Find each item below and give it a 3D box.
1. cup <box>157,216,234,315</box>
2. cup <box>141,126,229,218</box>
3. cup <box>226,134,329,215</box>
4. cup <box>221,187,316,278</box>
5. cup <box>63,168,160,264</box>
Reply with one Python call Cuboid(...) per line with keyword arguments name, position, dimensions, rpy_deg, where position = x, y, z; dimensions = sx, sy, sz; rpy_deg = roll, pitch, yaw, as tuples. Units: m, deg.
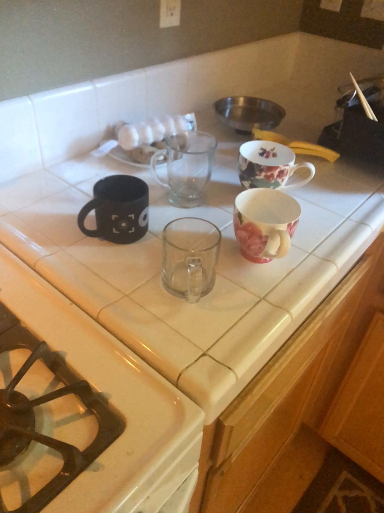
Cuboid(name="cup", position=(-0.001, 0.010, 0.610), dimensions=(0.090, 0.079, 0.121), rpy_deg=(-1, 40, -8))
Cuboid(name="cup", position=(-0.017, -0.153, 0.759), dimensions=(0.120, 0.109, 0.101), rpy_deg=(-14, 43, -22))
Cuboid(name="cup", position=(0.164, -0.162, 0.823), dimensions=(0.160, 0.079, 0.101), rpy_deg=(21, 42, 18))
Cuboid(name="cup", position=(0.107, -0.039, 0.632), dimensions=(0.100, 0.069, 0.131), rpy_deg=(-1, 40, -7))
Cuboid(name="cup", position=(-0.116, -0.063, 0.628), dimensions=(0.111, 0.079, 0.080), rpy_deg=(-30, 51, -35))
